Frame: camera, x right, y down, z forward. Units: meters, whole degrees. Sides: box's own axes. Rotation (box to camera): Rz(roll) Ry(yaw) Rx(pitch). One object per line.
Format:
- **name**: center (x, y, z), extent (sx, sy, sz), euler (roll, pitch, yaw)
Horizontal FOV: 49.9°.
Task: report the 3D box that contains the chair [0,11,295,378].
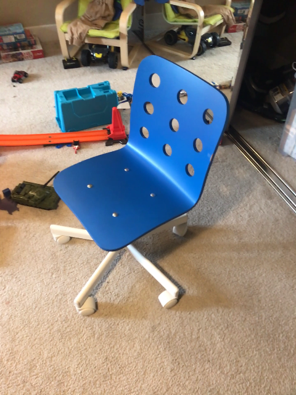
- **chair**: center (-0.050, -0.006, 1.048), extent (0.673, 0.814, 0.622), euler (-28, 56, -25)
